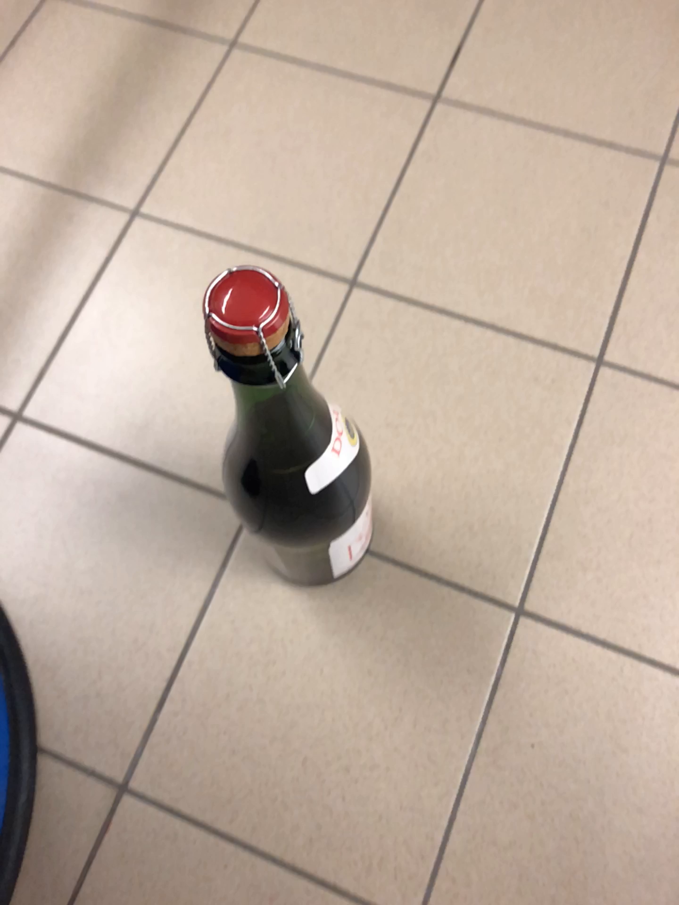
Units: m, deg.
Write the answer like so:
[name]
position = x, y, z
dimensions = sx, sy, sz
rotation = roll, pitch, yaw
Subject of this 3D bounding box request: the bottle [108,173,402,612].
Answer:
[bottle]
position = -0.023, 0.004, 0.383
dimensions = 0.090, 0.289, 0.100
rotation = -7, 69, 1
